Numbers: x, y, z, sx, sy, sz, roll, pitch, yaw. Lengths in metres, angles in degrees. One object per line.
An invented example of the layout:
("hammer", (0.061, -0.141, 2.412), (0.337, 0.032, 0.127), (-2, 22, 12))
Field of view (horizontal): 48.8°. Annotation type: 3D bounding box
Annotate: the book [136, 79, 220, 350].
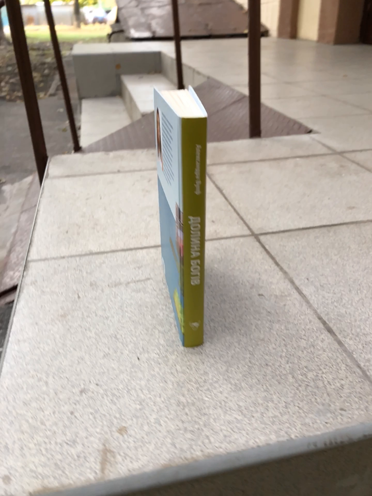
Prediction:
("book", (-0.009, -0.039, 0.395), (0.044, 0.208, 0.161), (-7, 30, -8))
